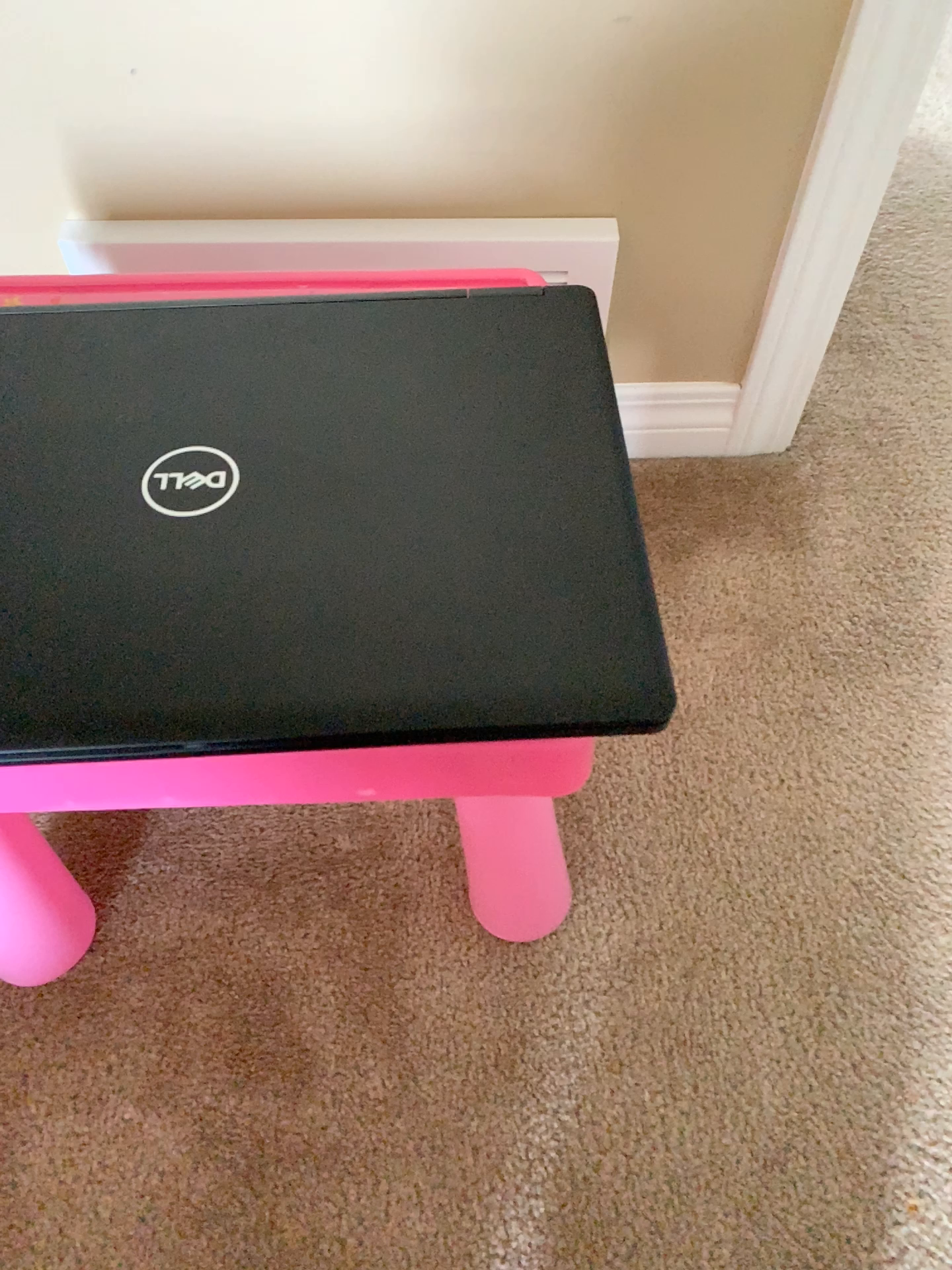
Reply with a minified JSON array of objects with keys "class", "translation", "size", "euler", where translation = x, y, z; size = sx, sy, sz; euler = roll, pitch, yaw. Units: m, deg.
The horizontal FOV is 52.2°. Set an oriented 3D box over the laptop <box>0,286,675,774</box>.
[{"class":"laptop","translation":[-0.120,-0.061,0.407],"size":[0.366,0.005,0.241],"euler":[-3,56,-2]}]
